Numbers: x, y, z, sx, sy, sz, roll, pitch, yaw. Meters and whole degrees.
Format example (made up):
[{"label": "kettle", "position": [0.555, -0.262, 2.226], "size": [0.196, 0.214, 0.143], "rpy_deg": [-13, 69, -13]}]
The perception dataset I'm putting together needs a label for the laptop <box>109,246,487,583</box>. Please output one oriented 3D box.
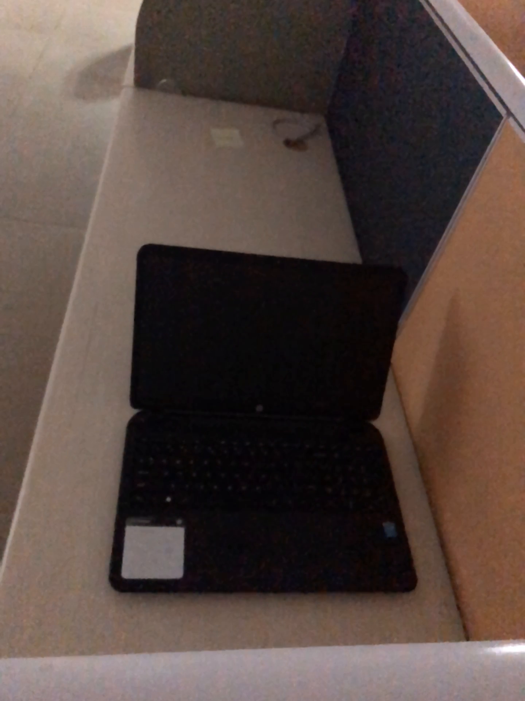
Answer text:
[{"label": "laptop", "position": [0.013, 0.074, 0.731], "size": [0.355, 0.205, 0.353], "rpy_deg": [5, 46, -9]}]
